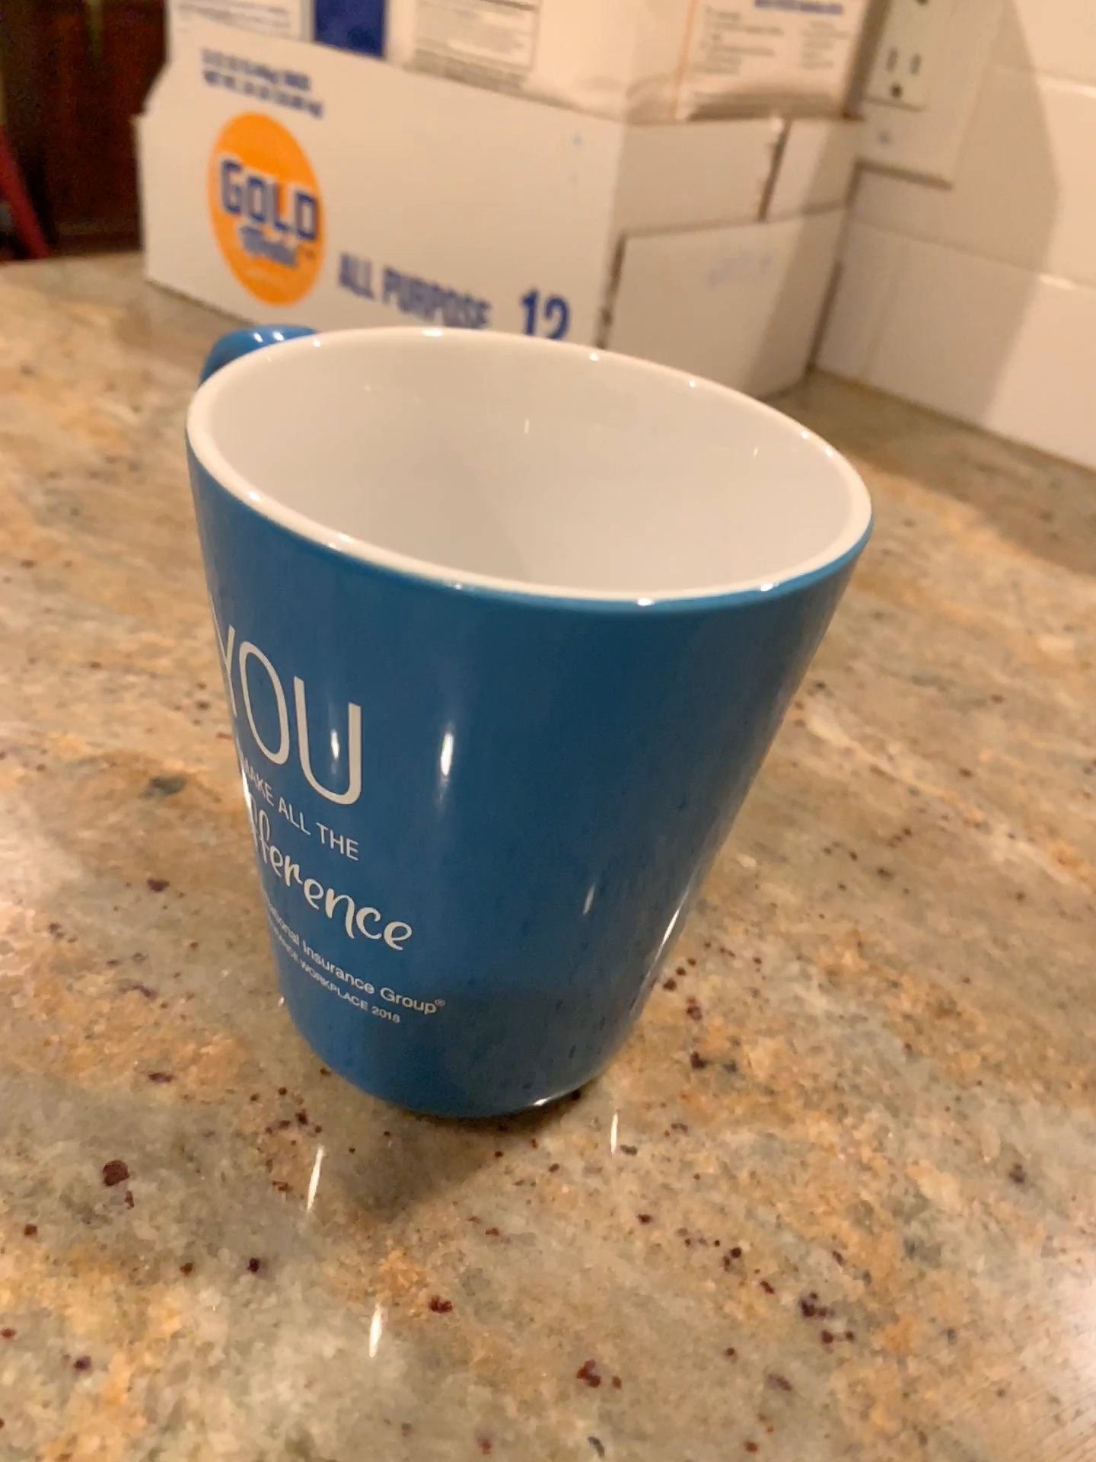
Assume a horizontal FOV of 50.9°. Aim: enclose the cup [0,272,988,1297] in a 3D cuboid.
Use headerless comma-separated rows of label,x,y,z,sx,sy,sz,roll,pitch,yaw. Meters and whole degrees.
cup,-0.022,-0.009,0.201,0.138,0.098,0.099,27,37,29
